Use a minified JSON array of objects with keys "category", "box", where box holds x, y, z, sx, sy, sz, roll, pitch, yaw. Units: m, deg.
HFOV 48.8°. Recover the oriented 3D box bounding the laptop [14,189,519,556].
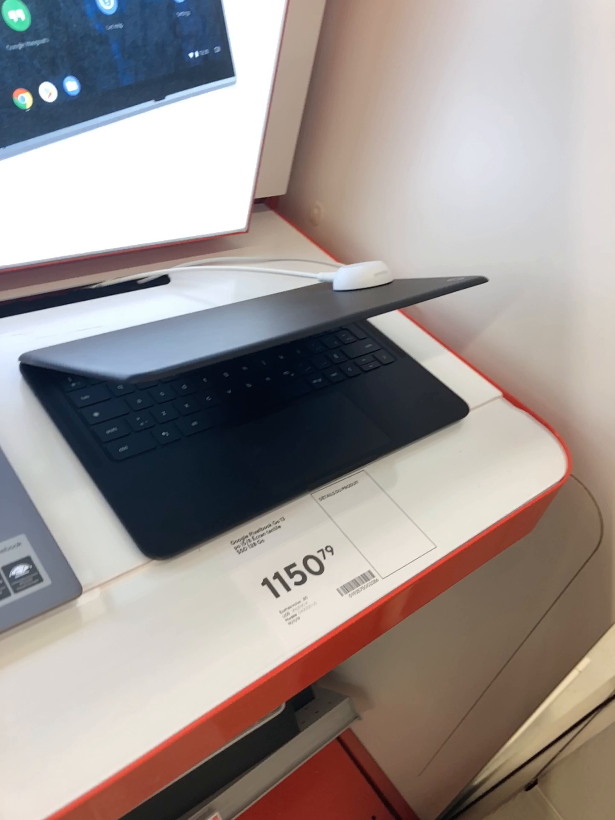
[{"category":"laptop","box":[-0.026,-0.057,0.505,0.299,0.106,0.199,-21,51,-36]}]
